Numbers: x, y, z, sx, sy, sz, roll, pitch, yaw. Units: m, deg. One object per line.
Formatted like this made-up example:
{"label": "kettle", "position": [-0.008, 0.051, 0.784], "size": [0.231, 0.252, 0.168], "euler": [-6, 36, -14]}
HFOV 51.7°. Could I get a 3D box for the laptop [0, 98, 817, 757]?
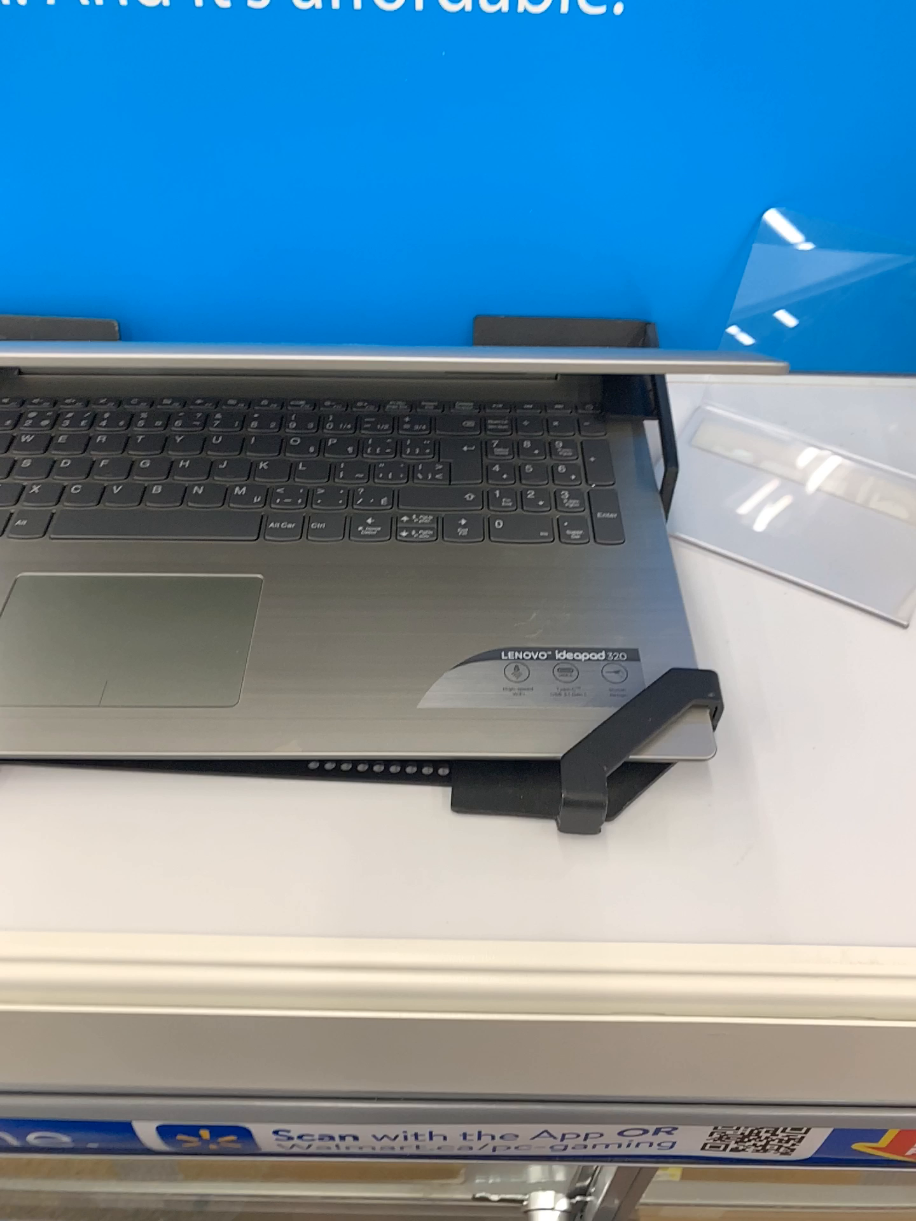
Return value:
{"label": "laptop", "position": [-0.079, -0.075, 0.333], "size": [0.324, 0.110, 0.220], "euler": [0, 48, -1]}
